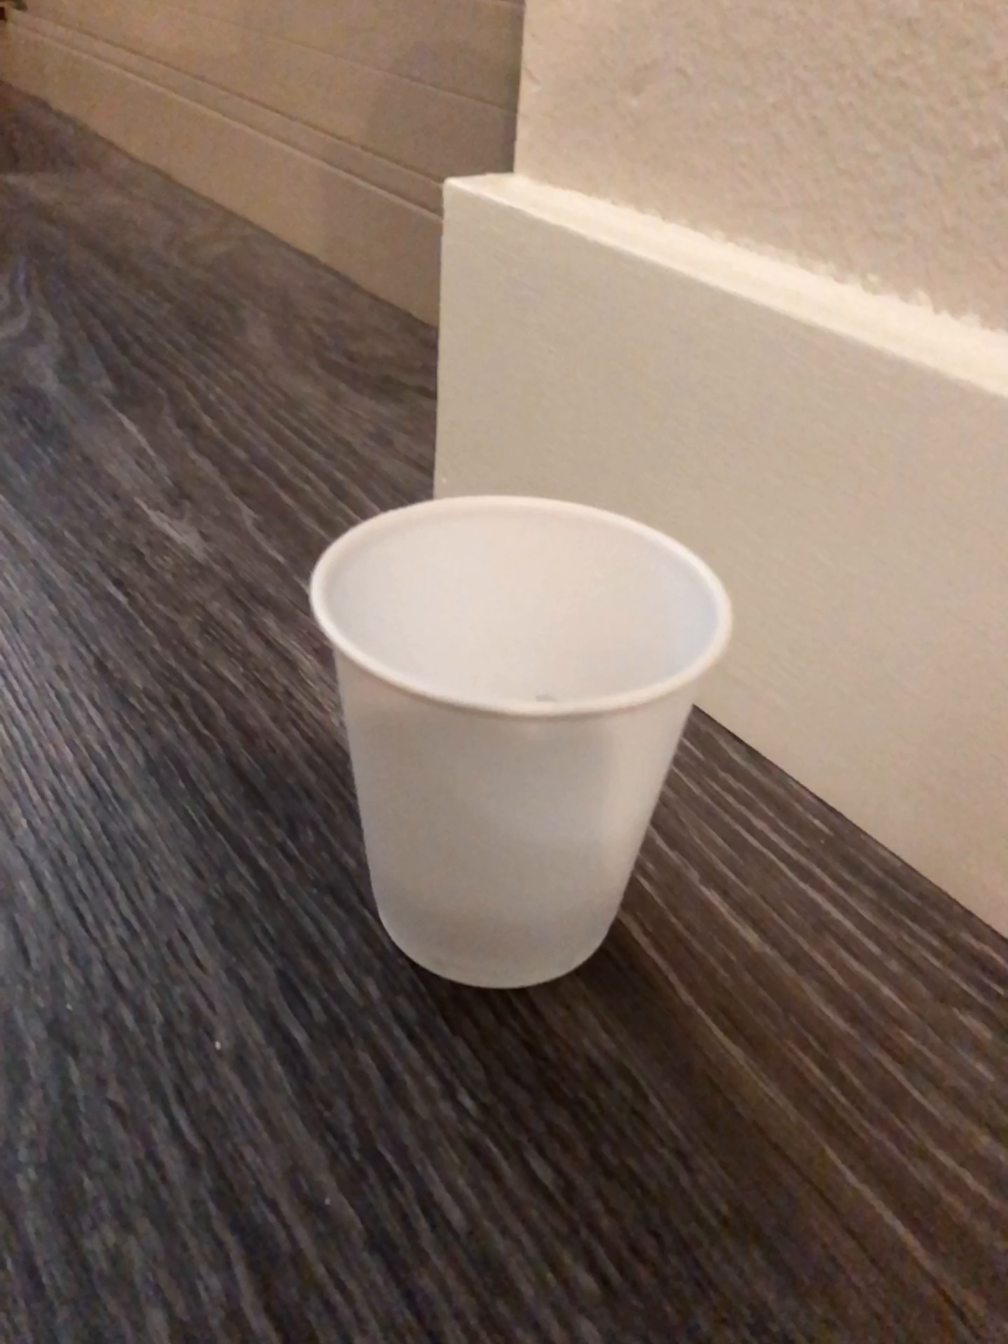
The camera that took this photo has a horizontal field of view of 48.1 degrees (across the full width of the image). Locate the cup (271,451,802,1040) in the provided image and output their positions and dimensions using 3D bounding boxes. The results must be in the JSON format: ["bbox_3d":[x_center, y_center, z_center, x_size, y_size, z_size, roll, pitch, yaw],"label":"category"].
[{"bbox_3d":[-0.002,0.007,0.170,0.060,0.060,0.060,3,33,-2],"label":"cup"}]
